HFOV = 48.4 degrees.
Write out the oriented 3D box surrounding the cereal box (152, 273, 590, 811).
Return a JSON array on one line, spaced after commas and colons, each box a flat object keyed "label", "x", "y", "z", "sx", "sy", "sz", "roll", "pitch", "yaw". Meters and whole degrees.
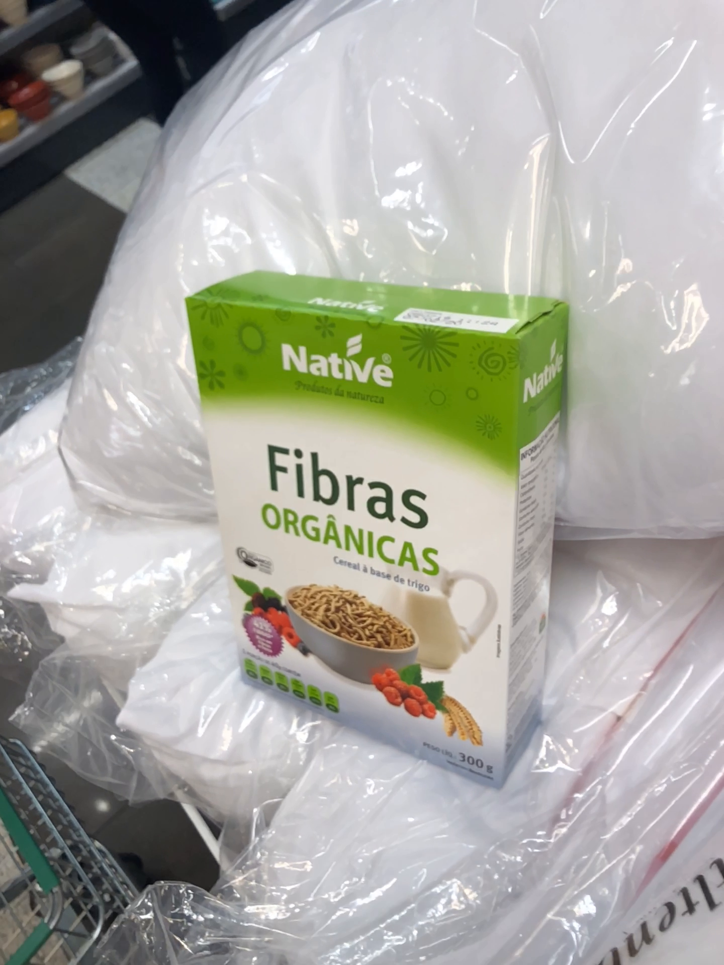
[{"label": "cereal box", "x": 0.003, "y": 0.024, "z": 0.406, "sx": 0.191, "sy": 0.229, "sz": 0.060, "roll": 14, "pitch": 32, "yaw": 31}]
